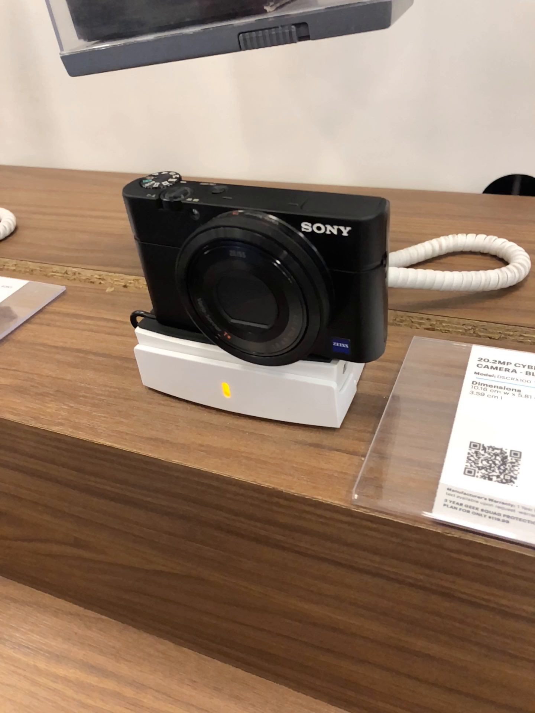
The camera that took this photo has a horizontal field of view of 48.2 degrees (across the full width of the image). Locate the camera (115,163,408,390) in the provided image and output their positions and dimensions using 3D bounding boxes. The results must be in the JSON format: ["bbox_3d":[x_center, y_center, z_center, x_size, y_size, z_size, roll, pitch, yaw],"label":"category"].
[{"bbox_3d":[0.000,-0.032,0.230,0.100,0.070,0.030,11,42,24],"label":"camera"}]
